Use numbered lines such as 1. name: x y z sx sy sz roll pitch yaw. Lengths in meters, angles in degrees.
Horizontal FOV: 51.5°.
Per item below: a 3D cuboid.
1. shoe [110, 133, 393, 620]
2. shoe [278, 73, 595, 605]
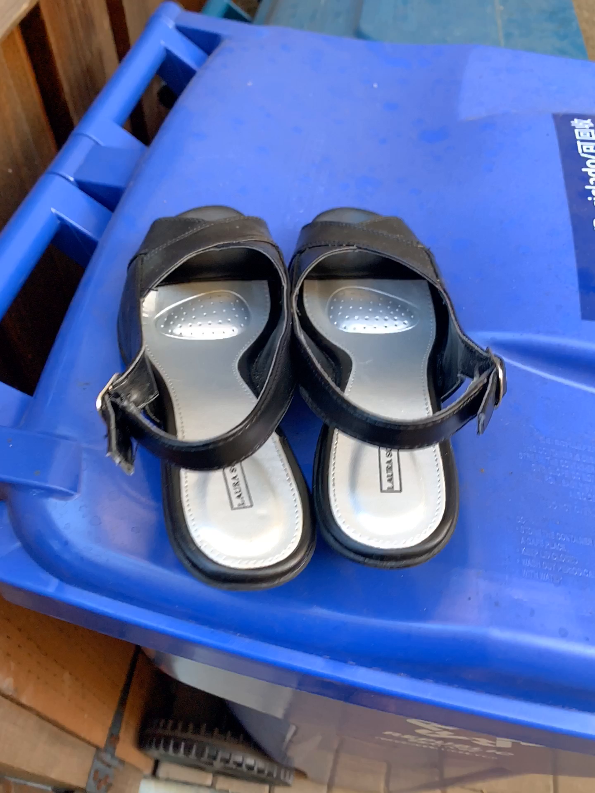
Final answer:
1. shoe: -0.046 -0.032 0.314 0.090 0.089 0.252 -1 45 -17
2. shoe: 0.038 -0.043 0.297 0.090 0.099 0.252 -1 54 -2
